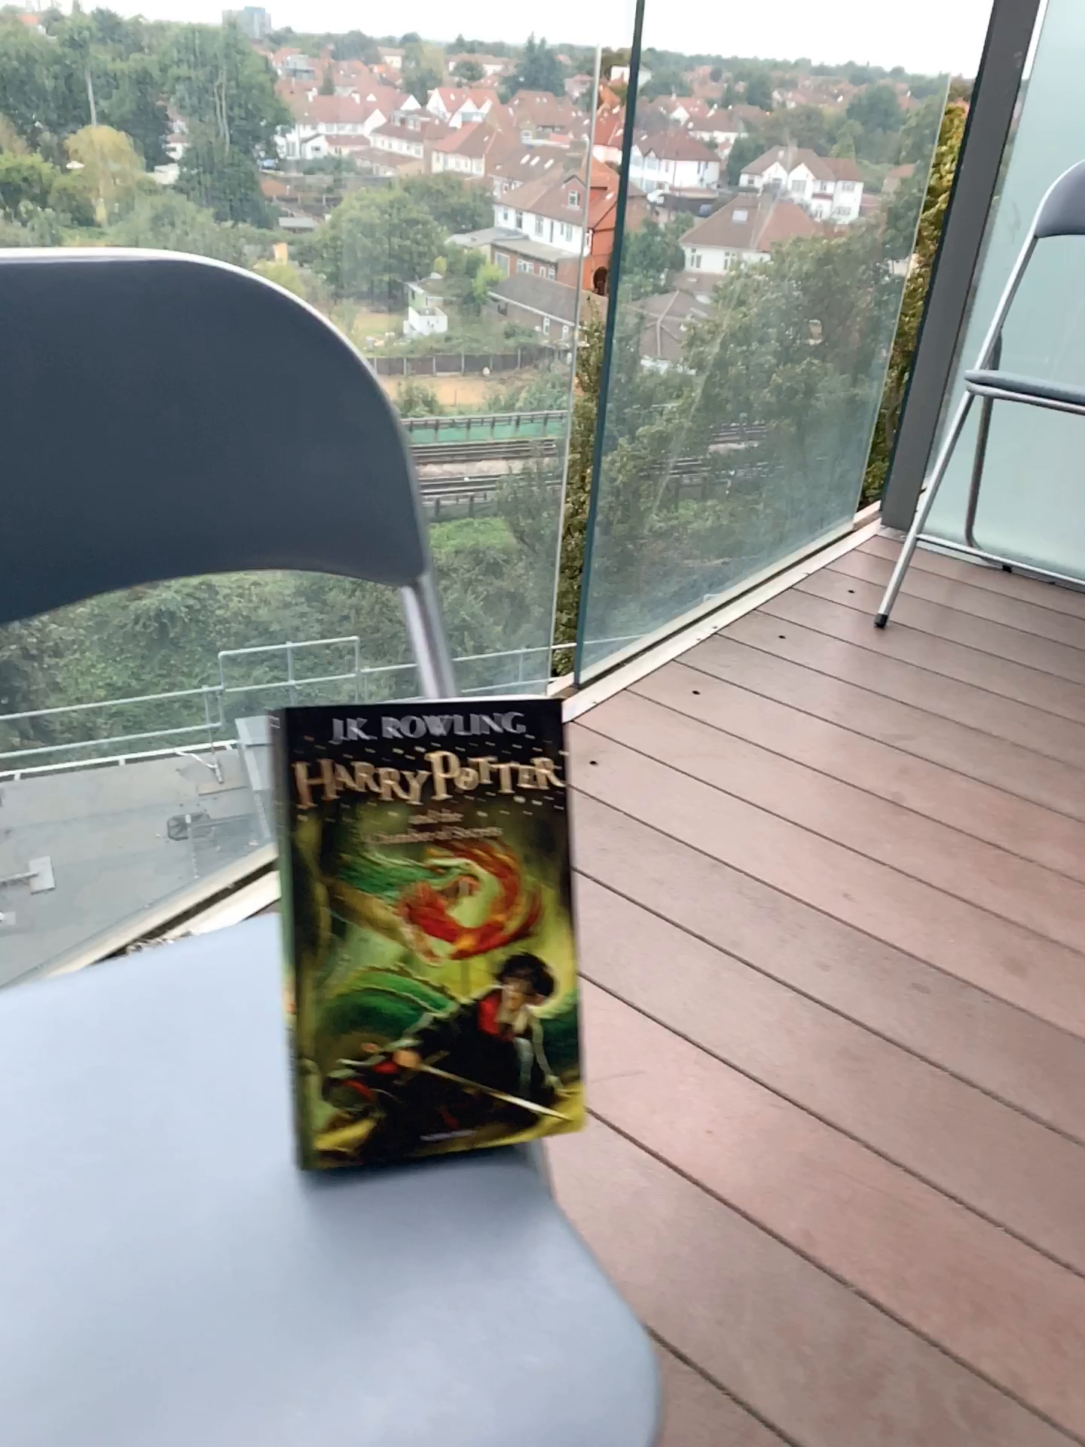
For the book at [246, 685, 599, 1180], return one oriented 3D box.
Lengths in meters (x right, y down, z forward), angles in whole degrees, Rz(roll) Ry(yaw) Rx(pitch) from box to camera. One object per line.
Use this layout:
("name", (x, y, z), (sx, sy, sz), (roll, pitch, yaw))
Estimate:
("book", (-0.054, 0.087, 0.503), (0.140, 0.200, 0.040), (-5, 2, -14))
